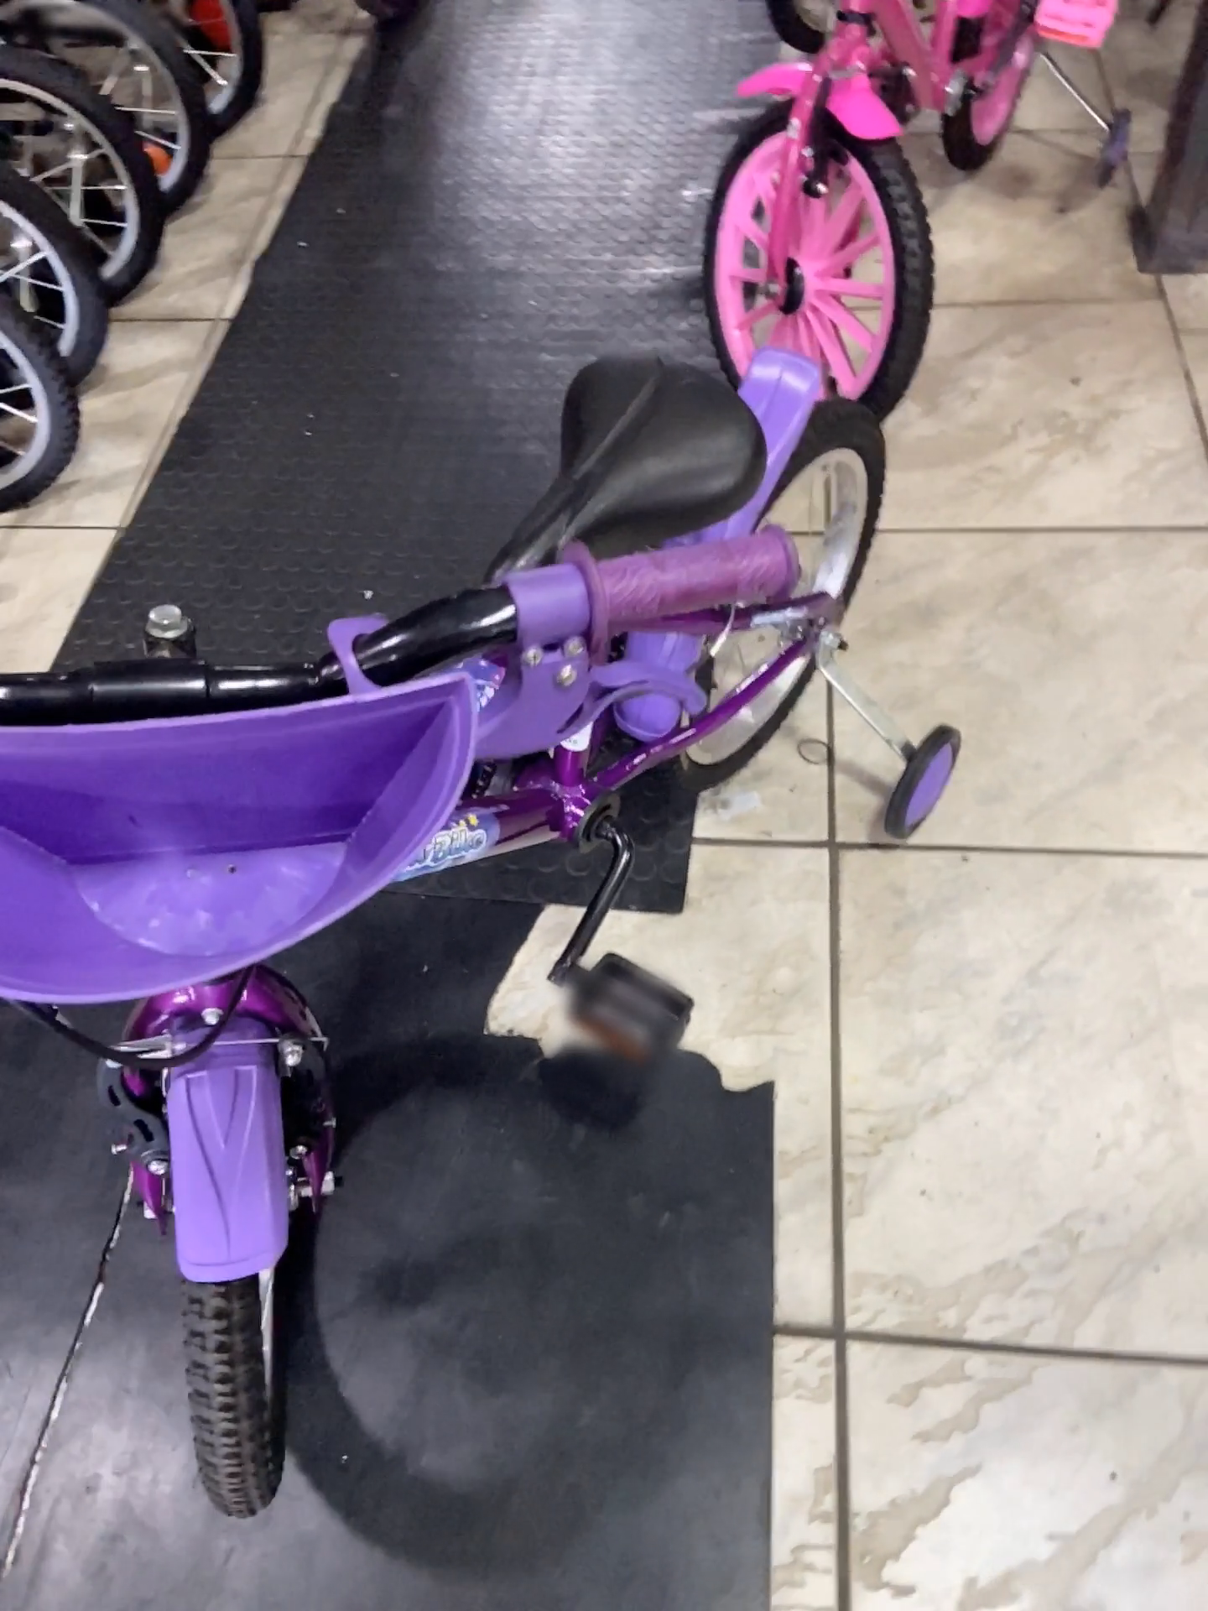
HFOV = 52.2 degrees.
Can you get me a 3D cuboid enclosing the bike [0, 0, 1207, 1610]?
[{"bbox_3d":[-0.025,-0.071,0.820,0.448,0.743,0.974,21,58,21],"label":"bike"}]
